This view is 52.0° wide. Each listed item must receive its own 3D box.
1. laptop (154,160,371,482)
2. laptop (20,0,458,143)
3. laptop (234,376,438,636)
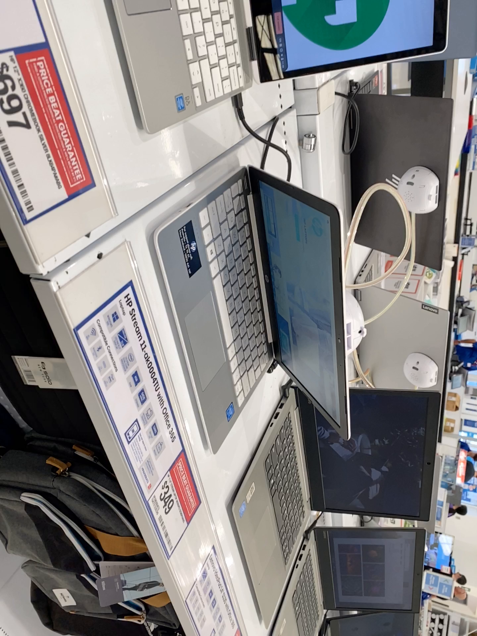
[{"bbox_3d":[0.050,-0.003,0.534,0.181,0.138,0.277,-51,139,-47],"label":"laptop"},{"bbox_3d":[0.052,-0.319,0.390,0.298,0.189,0.258,-53,141,-47],"label":"laptop"},{"bbox_3d":[0.177,0.316,0.774,0.276,0.212,0.327,-53,141,-46],"label":"laptop"}]
